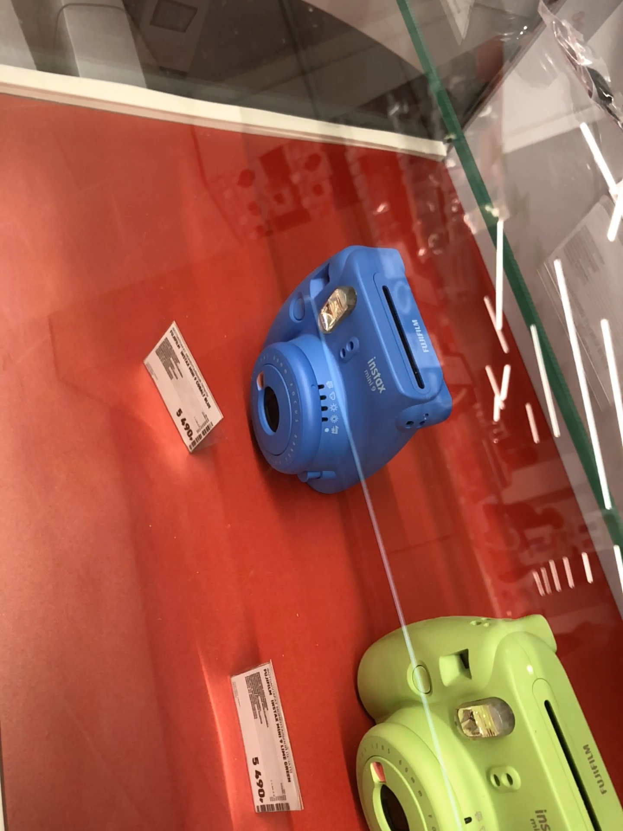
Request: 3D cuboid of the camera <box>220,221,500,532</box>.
[{"bbox_3d":[0.017,-0.019,0.371,0.070,0.110,0.123,-9,69,-30],"label":"camera"}]
